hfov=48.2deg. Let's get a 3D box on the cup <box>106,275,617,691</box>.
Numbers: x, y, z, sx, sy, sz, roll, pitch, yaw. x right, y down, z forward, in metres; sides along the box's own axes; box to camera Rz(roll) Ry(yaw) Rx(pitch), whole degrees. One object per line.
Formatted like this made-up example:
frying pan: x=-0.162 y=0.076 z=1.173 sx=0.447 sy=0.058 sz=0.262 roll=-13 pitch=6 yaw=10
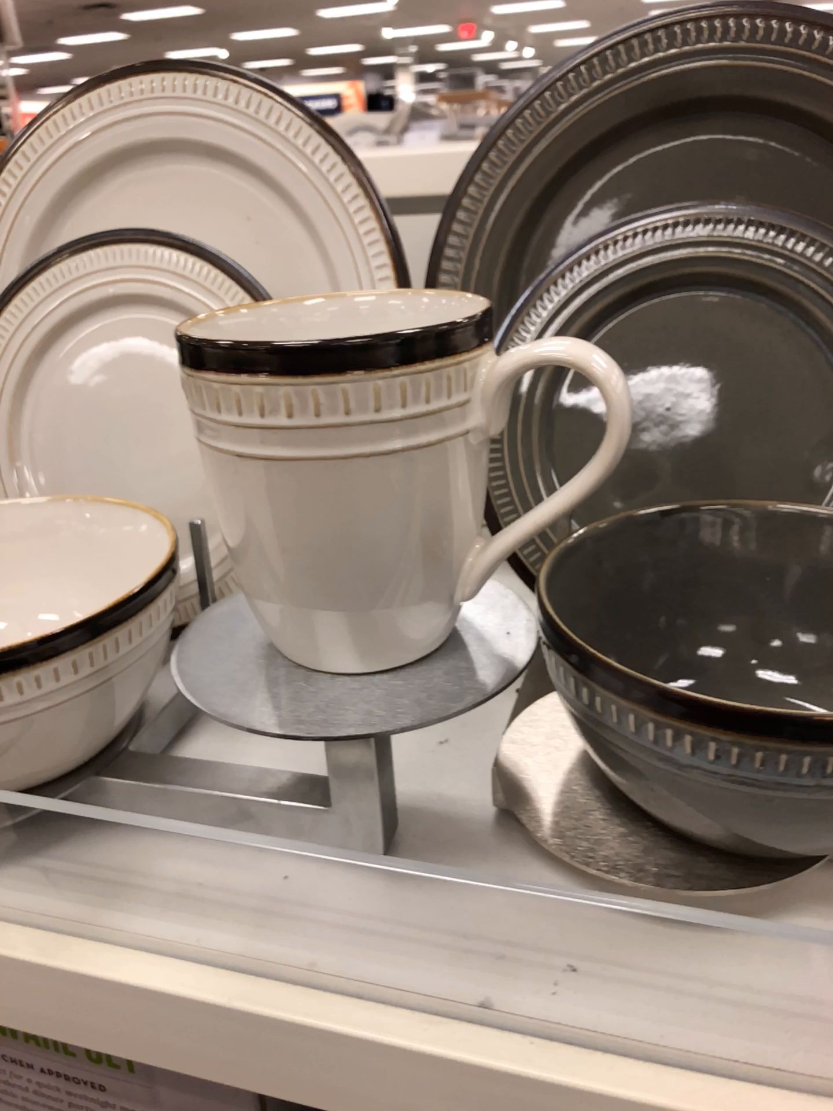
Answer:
cup: x=-0.006 y=-0.028 z=0.287 sx=0.128 sy=0.097 sz=0.092 roll=2 pitch=24 yaw=12
